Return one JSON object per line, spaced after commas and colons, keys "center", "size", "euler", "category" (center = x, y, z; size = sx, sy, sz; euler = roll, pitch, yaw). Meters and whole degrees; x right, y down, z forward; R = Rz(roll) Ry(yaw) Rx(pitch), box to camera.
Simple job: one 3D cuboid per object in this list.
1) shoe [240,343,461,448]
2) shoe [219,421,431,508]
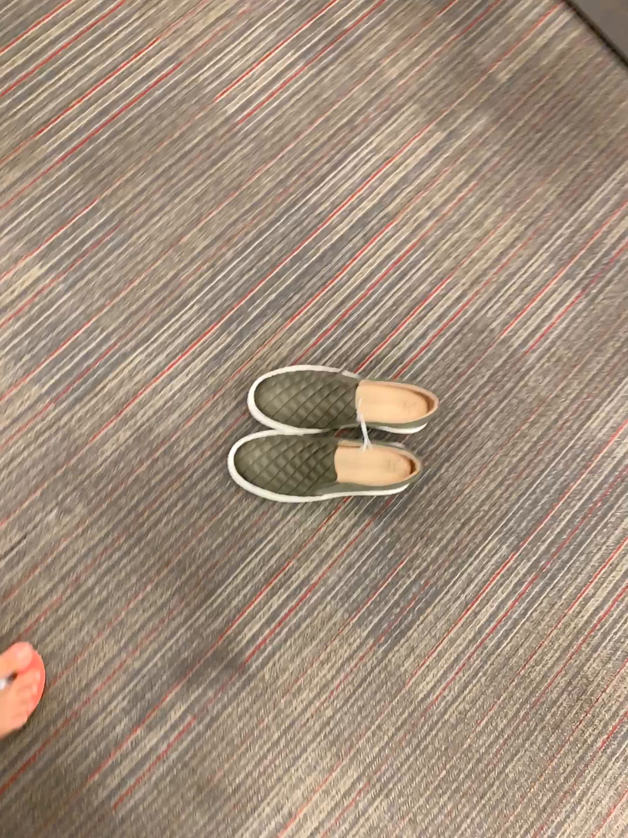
{"center": [0.047, -0.027, 0.931], "size": [0.290, 0.130, 0.100], "euler": [7, 83, -9], "category": "shoe"}
{"center": [0.012, 0.070, 0.940], "size": [0.290, 0.110, 0.100], "euler": [5, 83, -9], "category": "shoe"}
